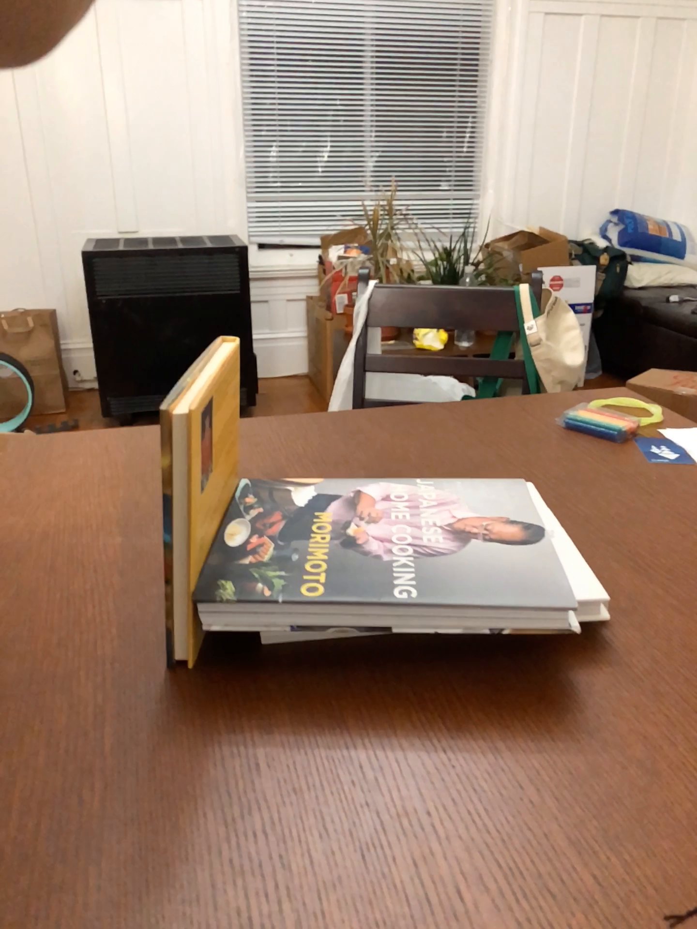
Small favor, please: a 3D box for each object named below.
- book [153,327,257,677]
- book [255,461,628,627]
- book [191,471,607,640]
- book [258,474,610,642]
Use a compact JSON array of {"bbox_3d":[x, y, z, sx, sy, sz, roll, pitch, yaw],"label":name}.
[{"bbox_3d":[-0.107,0.017,0.618,0.030,0.209,0.211,3,23,2],"label":"book"},{"bbox_3d":[0.063,0.059,0.676,0.280,0.030,0.221,-3,22,-4],"label":"book"},{"bbox_3d":[0.035,0.064,0.624,0.280,0.030,0.221,-1,22,1],"label":"book"},{"bbox_3d":[0.059,0.074,0.711,0.280,0.030,0.221,-4,22,-6],"label":"book"}]
